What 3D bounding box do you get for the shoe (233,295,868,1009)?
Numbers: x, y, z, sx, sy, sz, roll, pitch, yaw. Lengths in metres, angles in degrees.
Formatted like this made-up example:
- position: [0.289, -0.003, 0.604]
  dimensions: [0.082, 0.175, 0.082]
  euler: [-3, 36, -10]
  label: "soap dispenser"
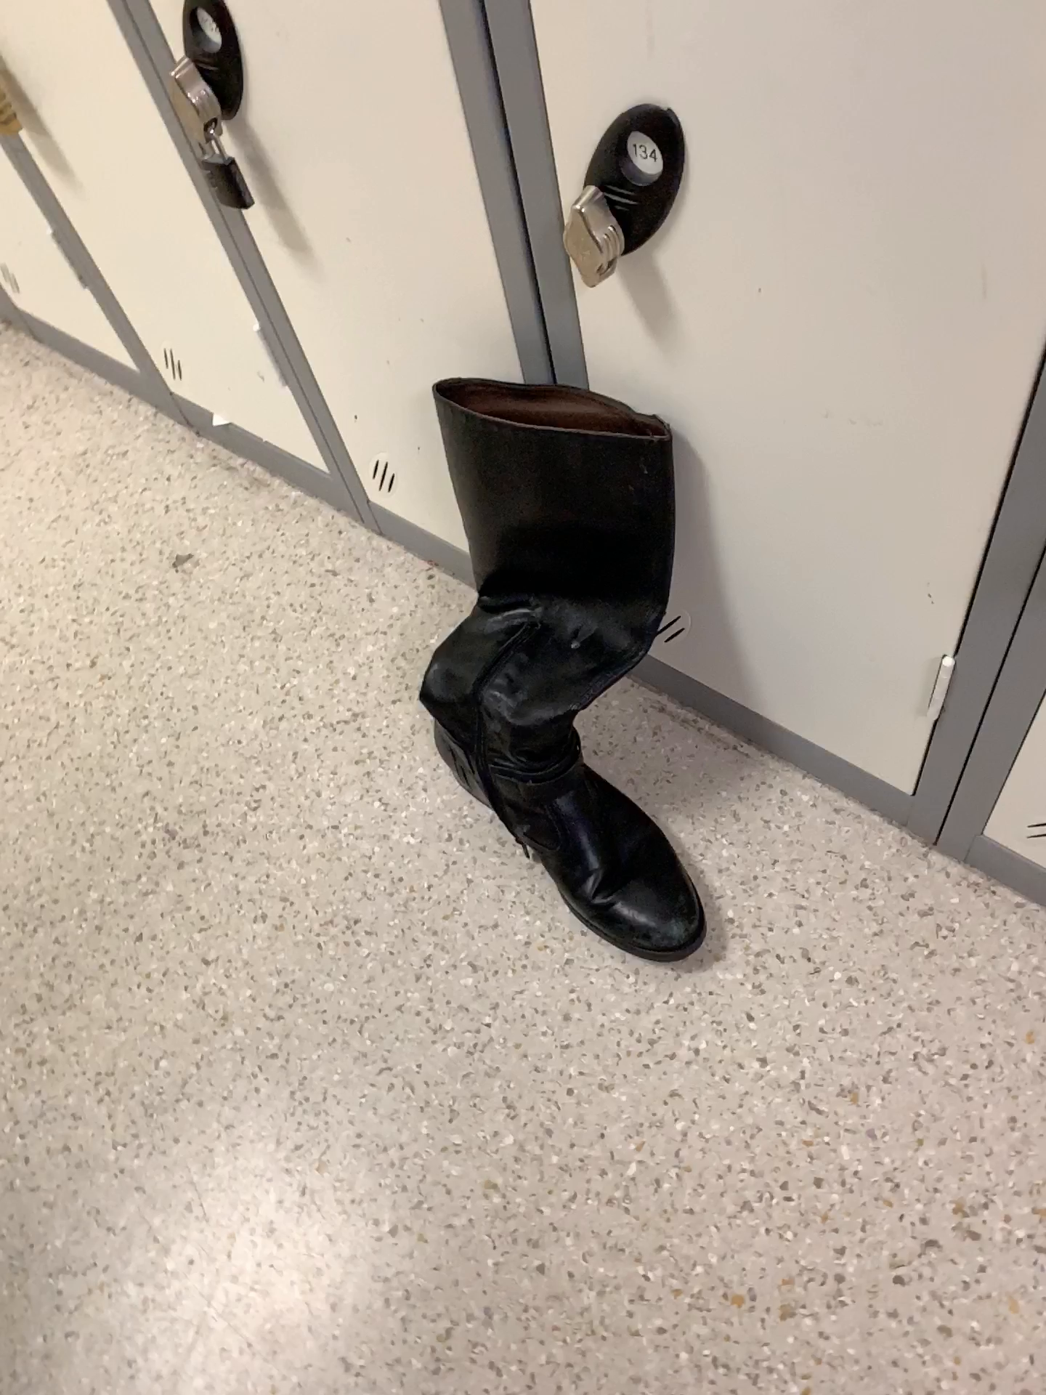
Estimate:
- position: [0.024, -0.019, 0.695]
  dimensions: [0.168, 0.331, 0.315]
  euler: [-40, 58, -16]
  label: "shoe"
